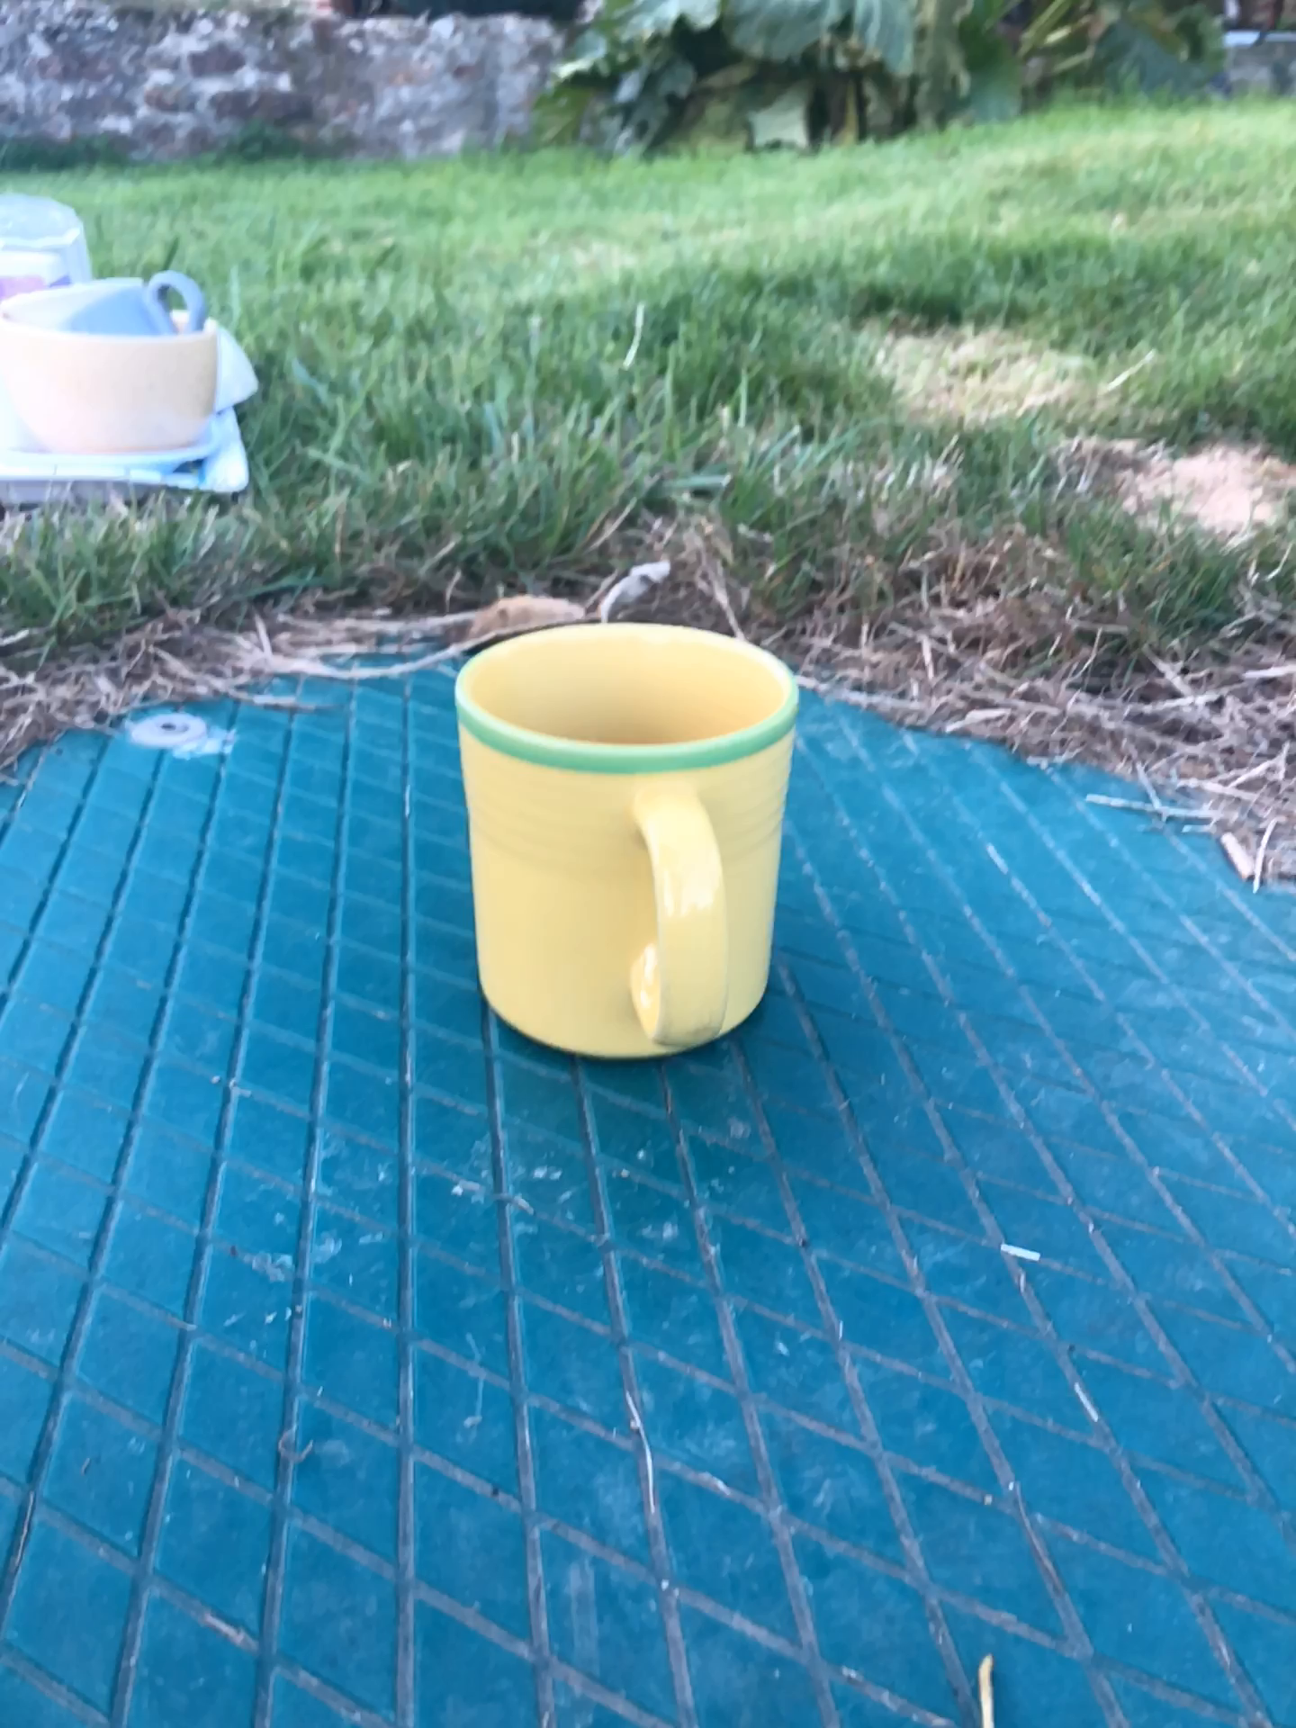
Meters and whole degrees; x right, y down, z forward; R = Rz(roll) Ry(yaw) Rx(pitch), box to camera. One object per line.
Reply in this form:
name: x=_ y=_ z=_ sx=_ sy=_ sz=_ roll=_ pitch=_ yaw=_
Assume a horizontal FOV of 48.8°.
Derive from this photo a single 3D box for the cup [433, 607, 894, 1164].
cup: x=-0.003 y=-0.002 z=0.360 sx=0.086 sy=0.089 sz=0.115 roll=-6 pitch=27 yaw=-11
